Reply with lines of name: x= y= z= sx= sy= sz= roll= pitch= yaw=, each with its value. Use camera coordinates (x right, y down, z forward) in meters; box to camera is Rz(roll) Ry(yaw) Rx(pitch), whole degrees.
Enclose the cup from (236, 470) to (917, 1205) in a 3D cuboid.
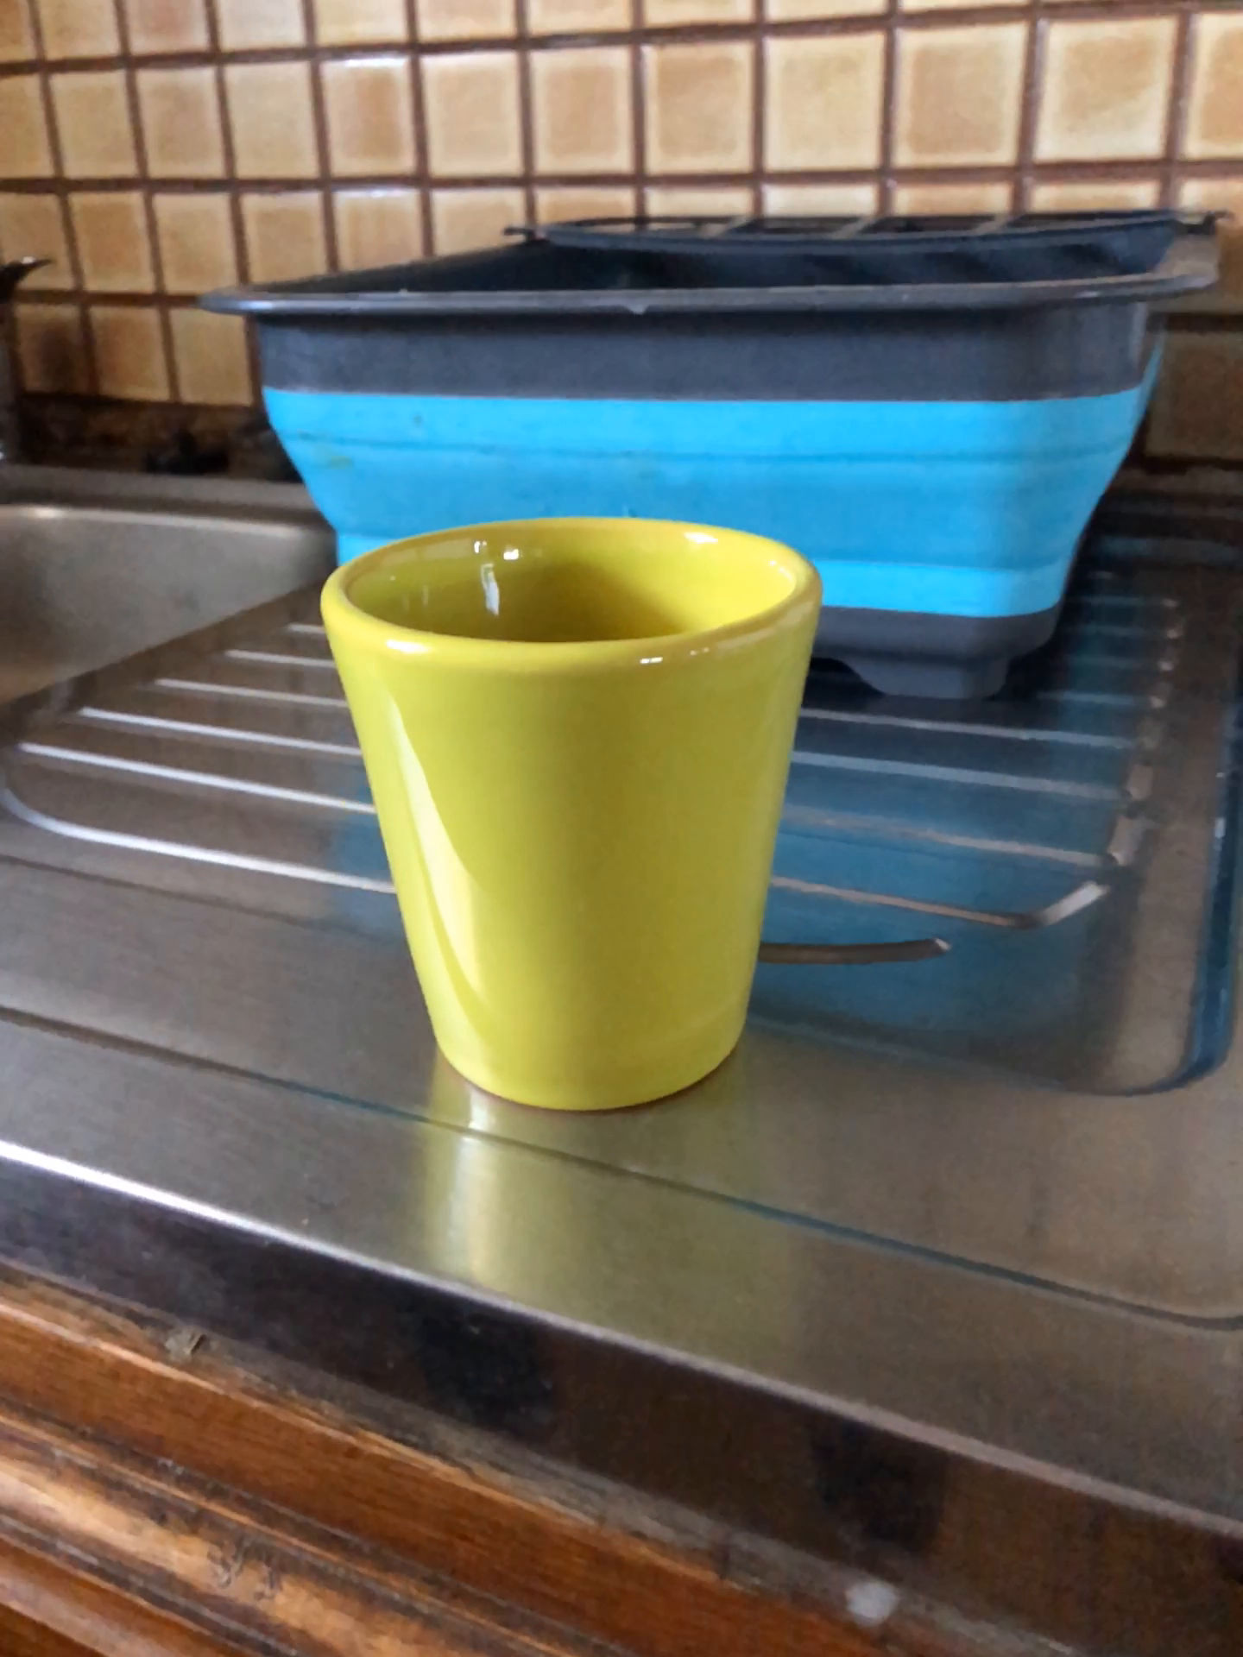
cup: x=-0.002 y=-0.007 z=0.239 sx=0.080 sy=0.090 sz=0.081 roll=-1 pitch=25 yaw=0
